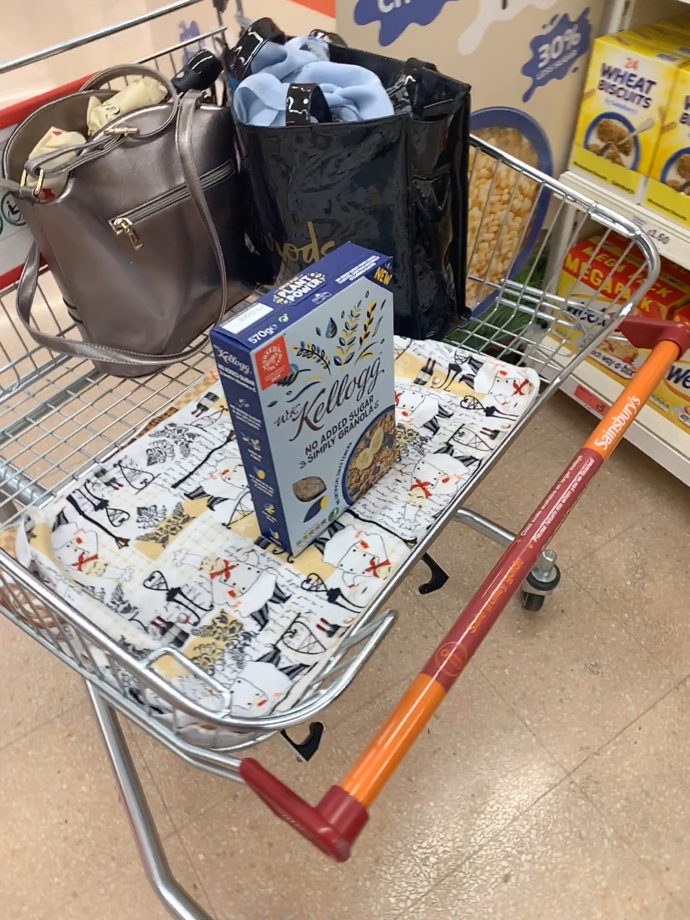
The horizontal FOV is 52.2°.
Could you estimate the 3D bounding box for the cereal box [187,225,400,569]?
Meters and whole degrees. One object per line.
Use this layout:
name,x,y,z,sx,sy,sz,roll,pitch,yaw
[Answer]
cereal box,-0.027,-0.048,0.614,0.050,0.248,0.171,29,53,31
